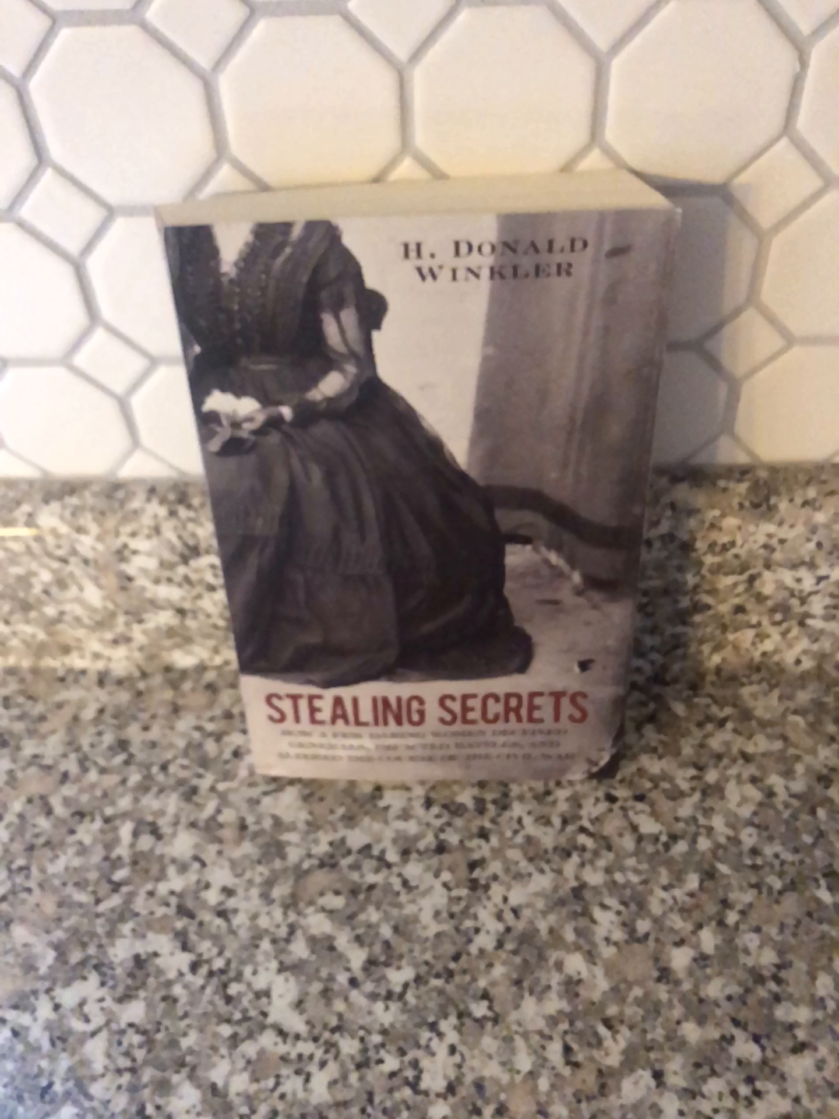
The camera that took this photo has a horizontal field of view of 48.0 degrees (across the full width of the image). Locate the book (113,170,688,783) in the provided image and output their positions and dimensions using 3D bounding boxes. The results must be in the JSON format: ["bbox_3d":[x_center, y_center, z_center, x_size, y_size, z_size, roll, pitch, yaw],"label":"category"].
[{"bbox_3d":[0.000,-0.014,0.342,0.161,0.225,0.041,-1,33,4],"label":"book"}]
